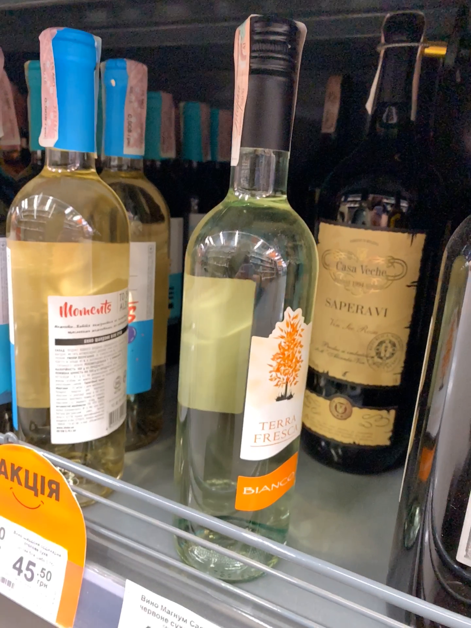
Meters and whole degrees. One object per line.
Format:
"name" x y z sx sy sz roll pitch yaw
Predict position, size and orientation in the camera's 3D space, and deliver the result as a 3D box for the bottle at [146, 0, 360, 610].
"bottle" 0.001 0.002 0.270 0.070 0.294 0.070 3 16 -1
